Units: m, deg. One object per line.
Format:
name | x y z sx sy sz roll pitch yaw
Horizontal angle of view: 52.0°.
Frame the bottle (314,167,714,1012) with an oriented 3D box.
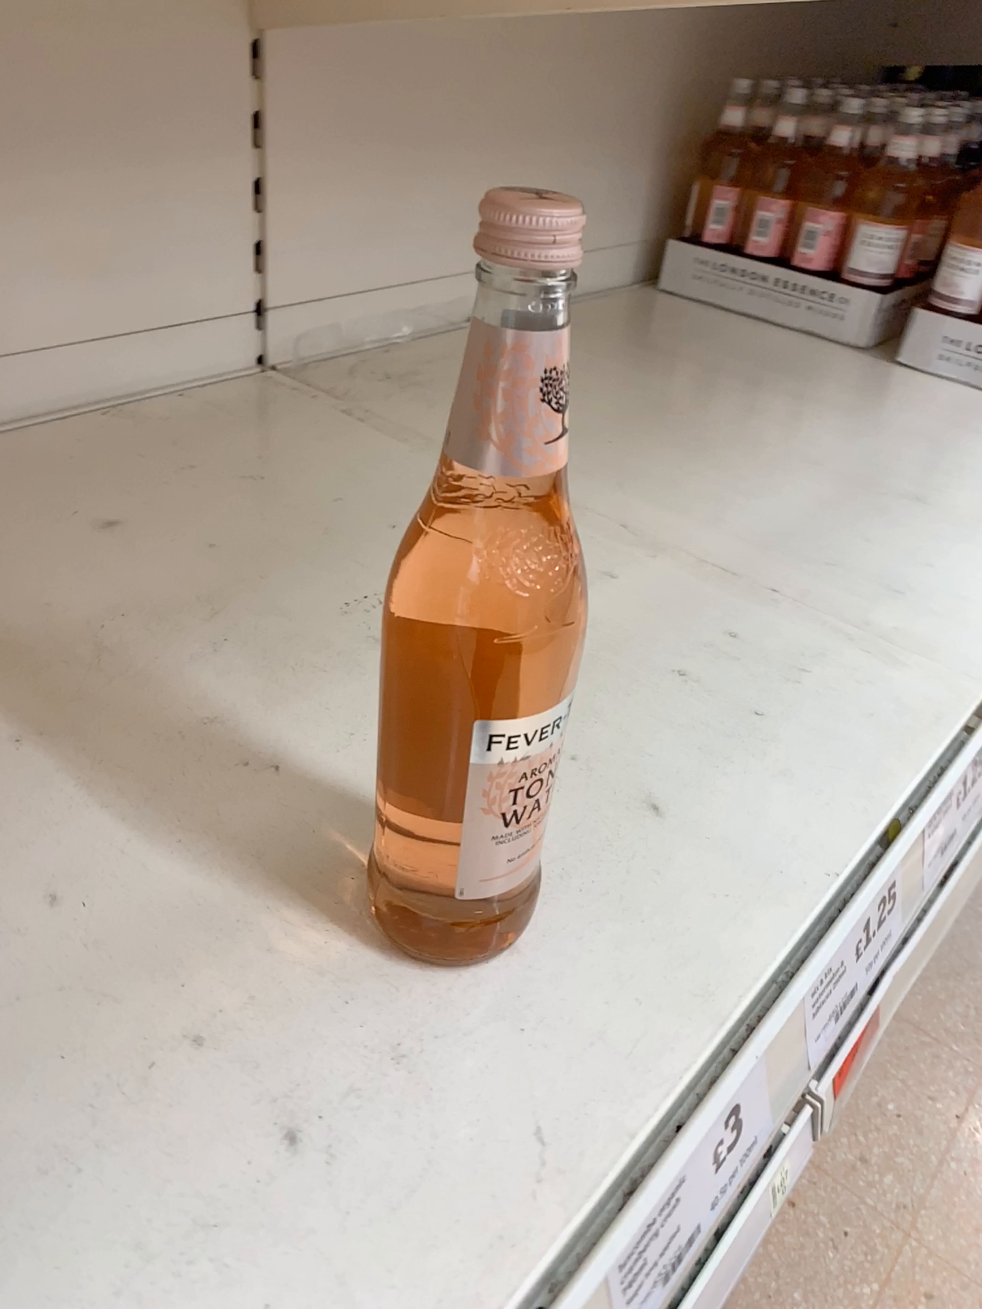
bottle | -0.004 -0.010 0.324 0.067 0.254 0.078 25 37 25
